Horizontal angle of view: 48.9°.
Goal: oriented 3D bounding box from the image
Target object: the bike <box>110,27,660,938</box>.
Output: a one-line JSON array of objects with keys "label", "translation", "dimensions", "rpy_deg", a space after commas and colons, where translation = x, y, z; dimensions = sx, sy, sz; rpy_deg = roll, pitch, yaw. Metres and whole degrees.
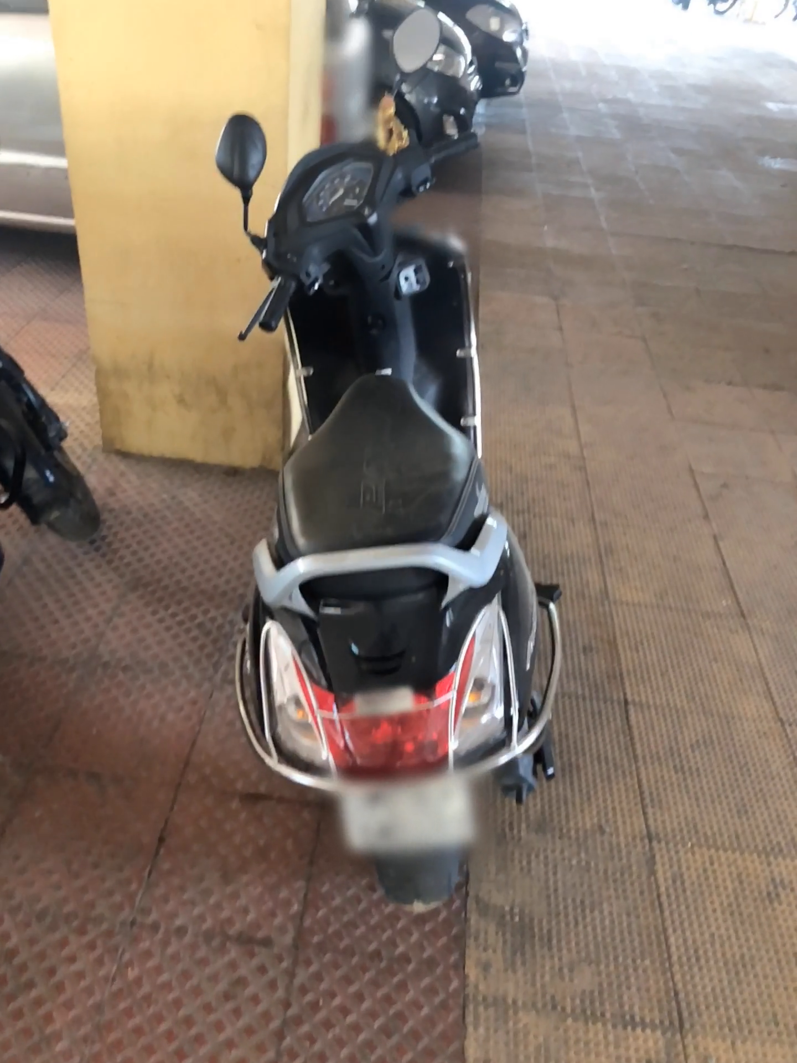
[{"label": "bike", "translation": [-0.179, -0.195, 1.841], "dimensions": [0.608, 1.172, 1.448], "rpy_deg": [-1, 39, -11]}]
